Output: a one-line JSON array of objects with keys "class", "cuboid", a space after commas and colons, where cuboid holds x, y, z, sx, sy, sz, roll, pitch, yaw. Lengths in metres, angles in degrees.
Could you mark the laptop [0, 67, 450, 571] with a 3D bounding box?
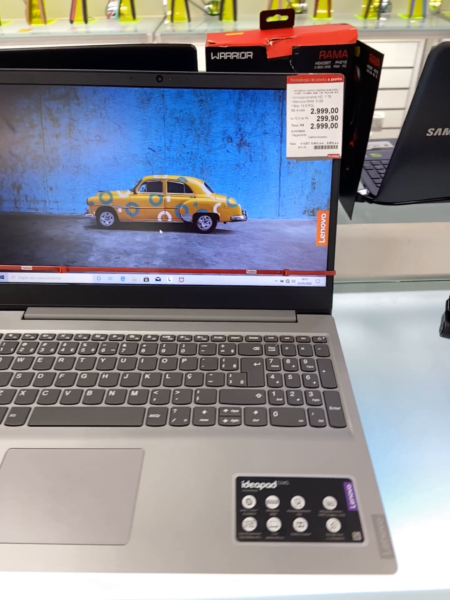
[{"class": "laptop", "cuboid": [-0.073, -0.031, 0.383, 0.368, 0.209, 0.381, 0, 39, 1]}]
